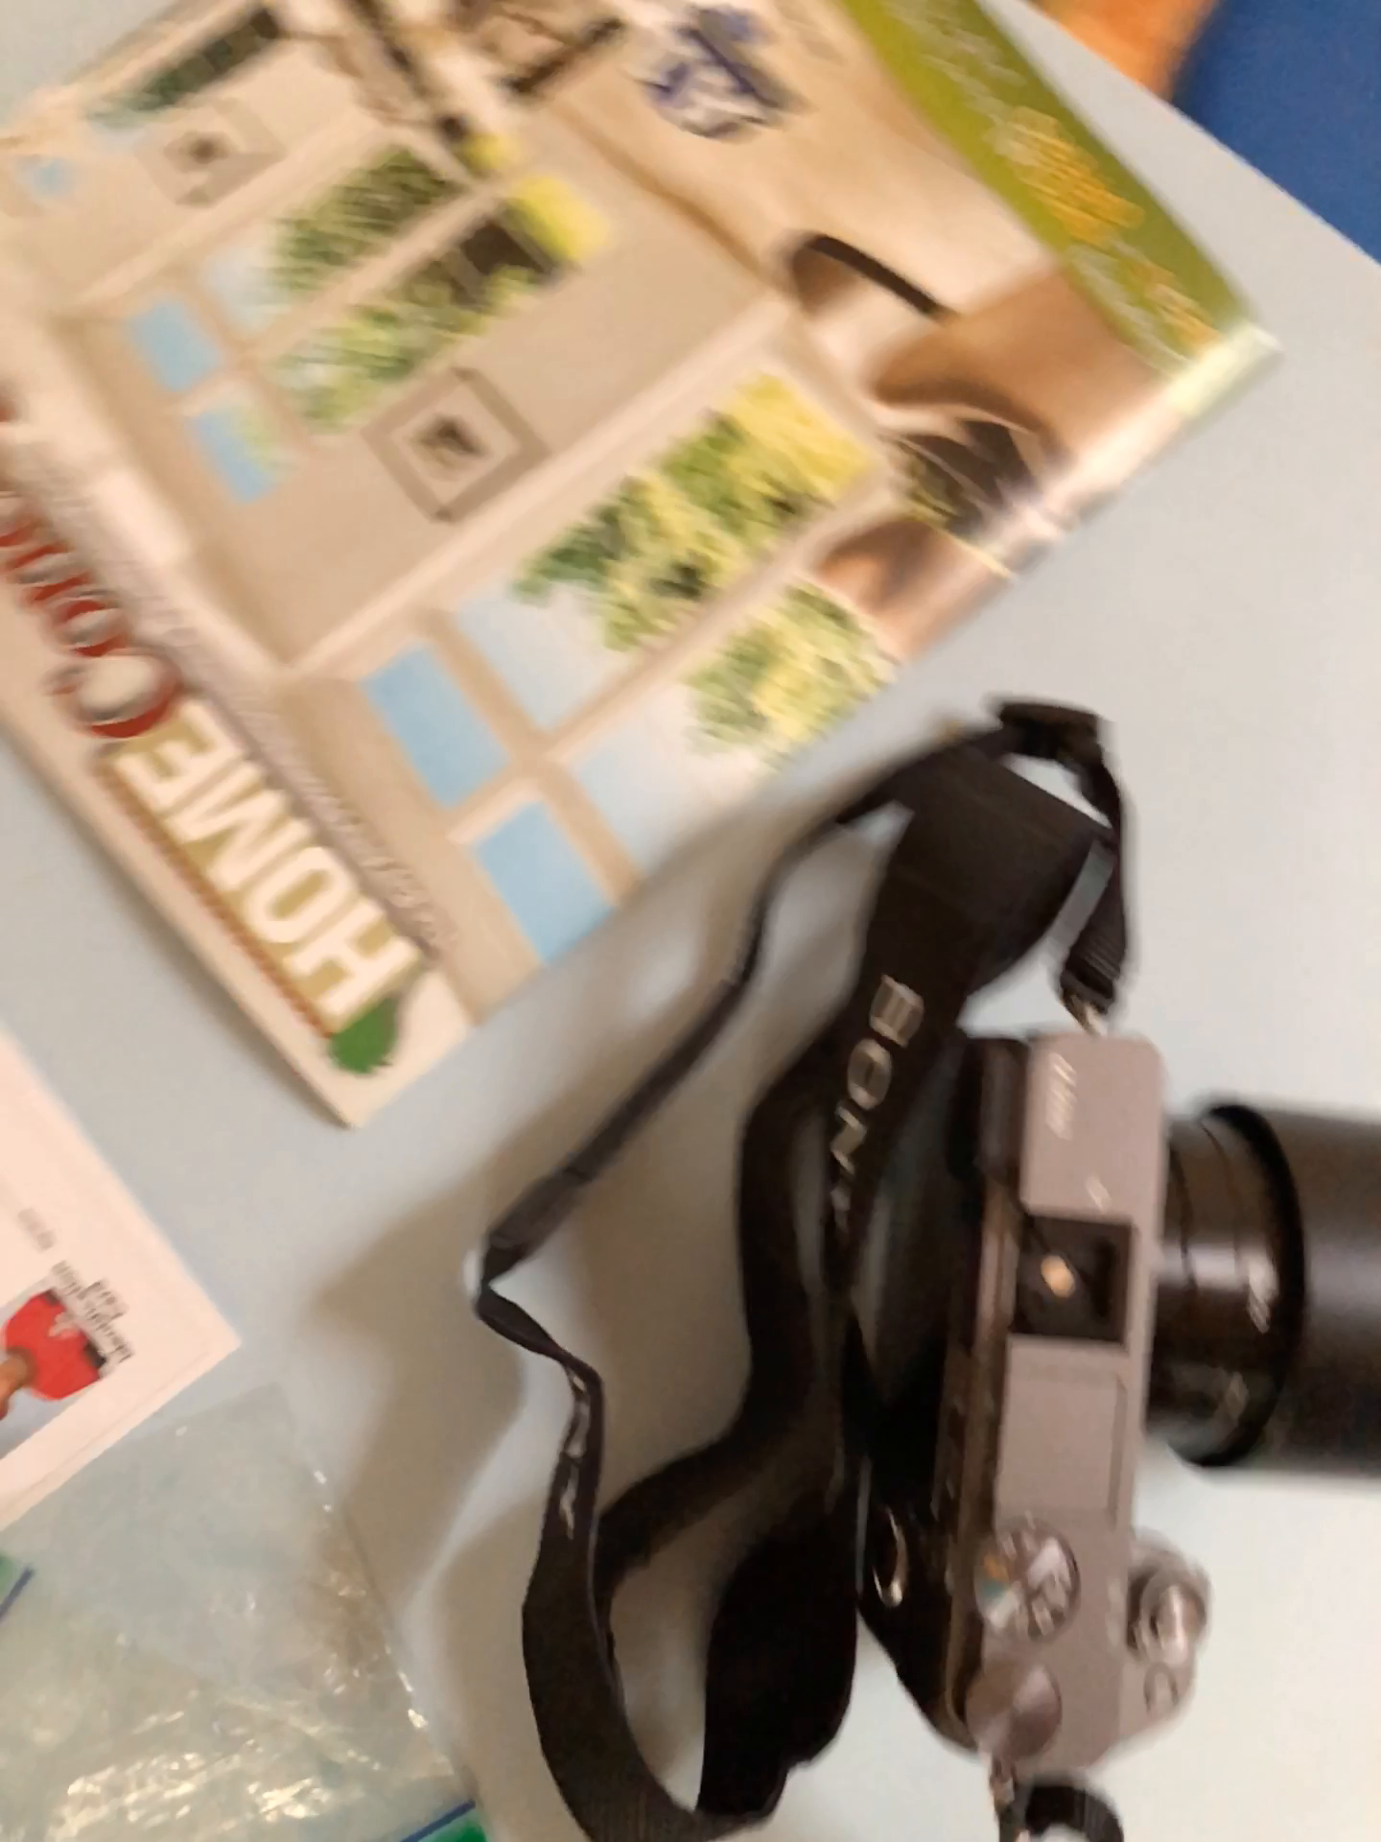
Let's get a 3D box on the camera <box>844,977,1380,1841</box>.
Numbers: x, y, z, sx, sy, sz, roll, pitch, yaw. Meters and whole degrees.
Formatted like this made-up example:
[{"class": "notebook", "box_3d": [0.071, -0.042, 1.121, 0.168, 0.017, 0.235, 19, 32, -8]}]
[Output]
[{"class": "camera", "box_3d": [0.098, 0.085, 0.285, 0.110, 0.070, 0.130, 9, 82, -8]}]
